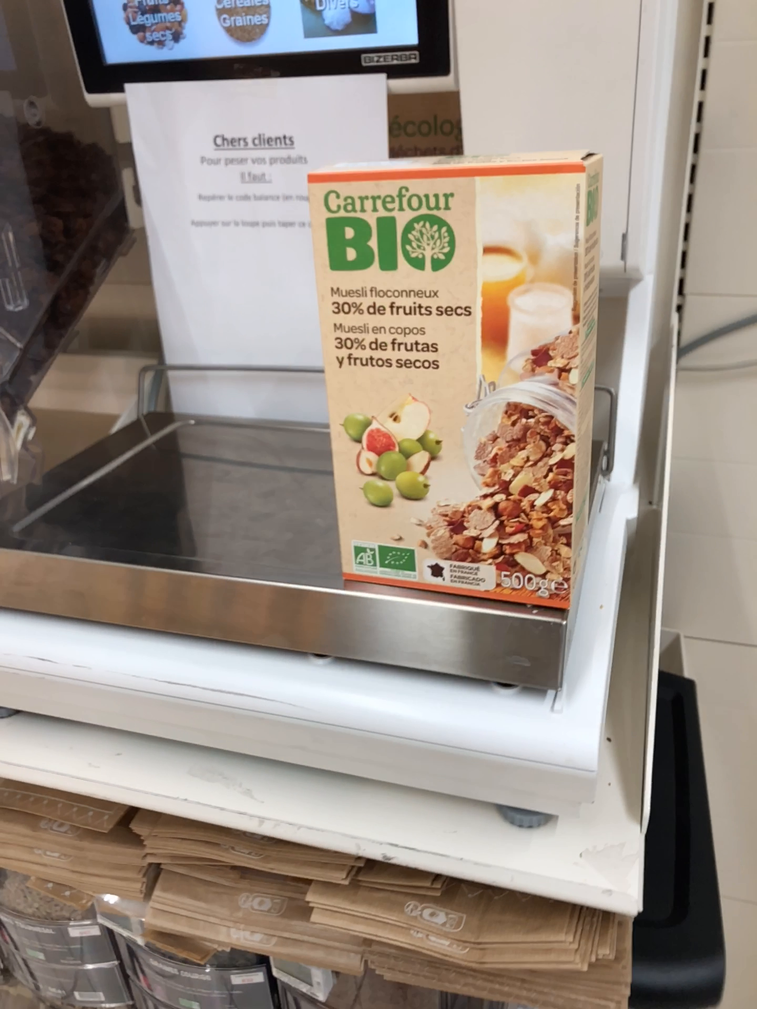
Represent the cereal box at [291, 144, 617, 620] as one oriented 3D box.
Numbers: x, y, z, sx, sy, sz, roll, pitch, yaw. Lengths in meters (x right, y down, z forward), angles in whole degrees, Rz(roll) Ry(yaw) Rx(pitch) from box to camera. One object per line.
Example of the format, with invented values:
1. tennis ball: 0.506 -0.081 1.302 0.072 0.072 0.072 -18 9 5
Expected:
1. cereal box: 0.041 -0.057 0.409 0.130 0.209 0.060 5 27 20
